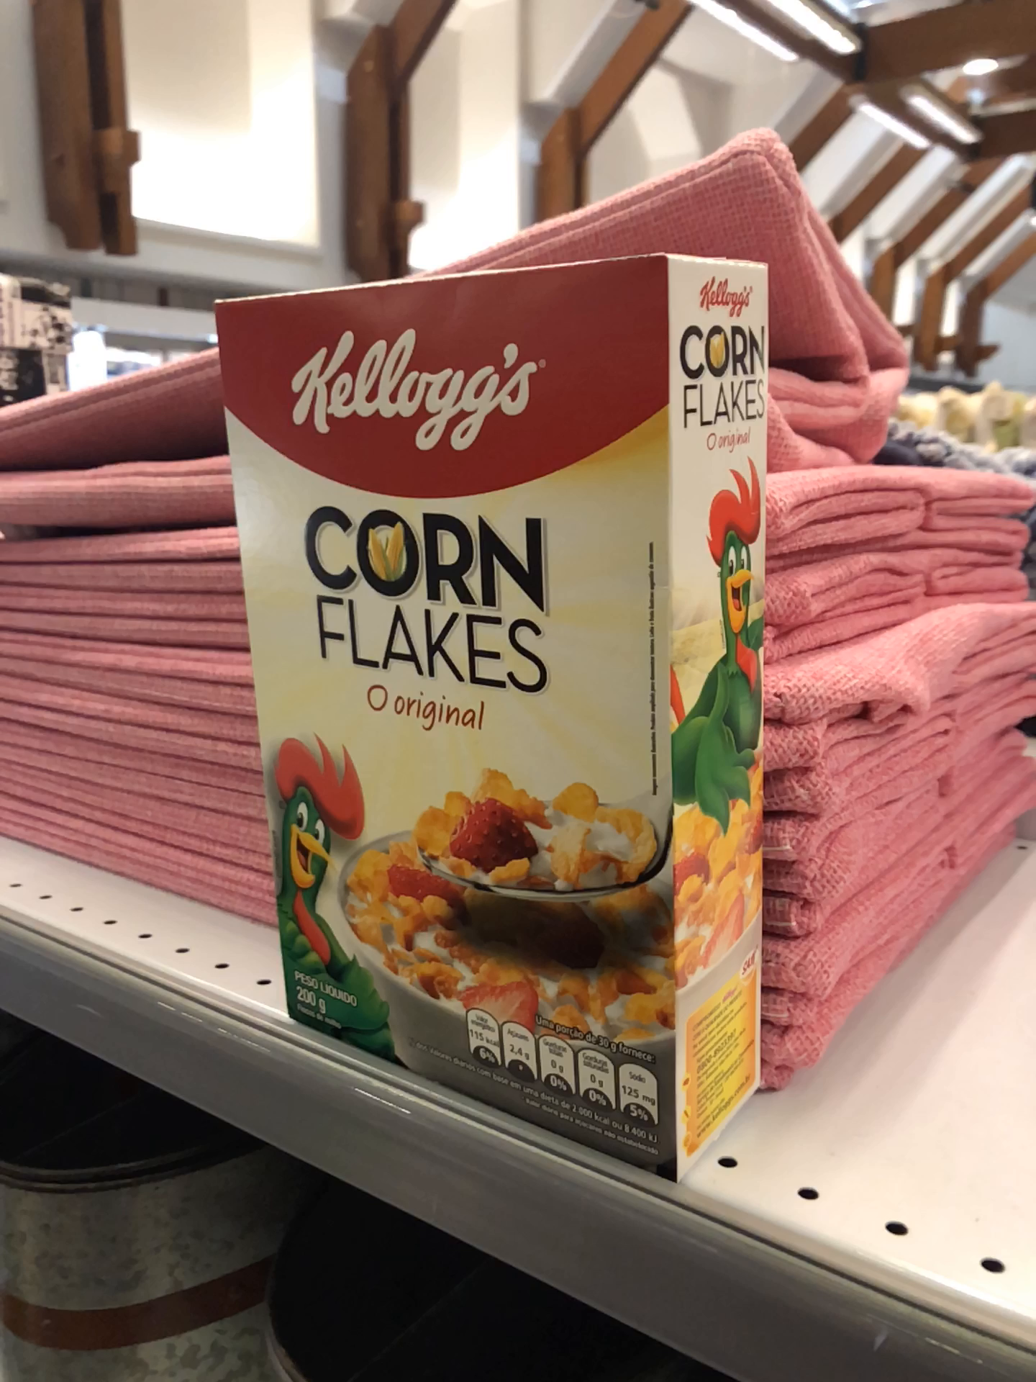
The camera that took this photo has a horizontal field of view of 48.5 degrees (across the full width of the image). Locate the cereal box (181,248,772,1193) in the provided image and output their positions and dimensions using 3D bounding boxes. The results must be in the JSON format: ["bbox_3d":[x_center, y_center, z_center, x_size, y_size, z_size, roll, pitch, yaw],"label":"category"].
[{"bbox_3d":[-0.014,0.002,0.378,0.180,0.259,0.060,9,19,36],"label":"cereal box"}]
